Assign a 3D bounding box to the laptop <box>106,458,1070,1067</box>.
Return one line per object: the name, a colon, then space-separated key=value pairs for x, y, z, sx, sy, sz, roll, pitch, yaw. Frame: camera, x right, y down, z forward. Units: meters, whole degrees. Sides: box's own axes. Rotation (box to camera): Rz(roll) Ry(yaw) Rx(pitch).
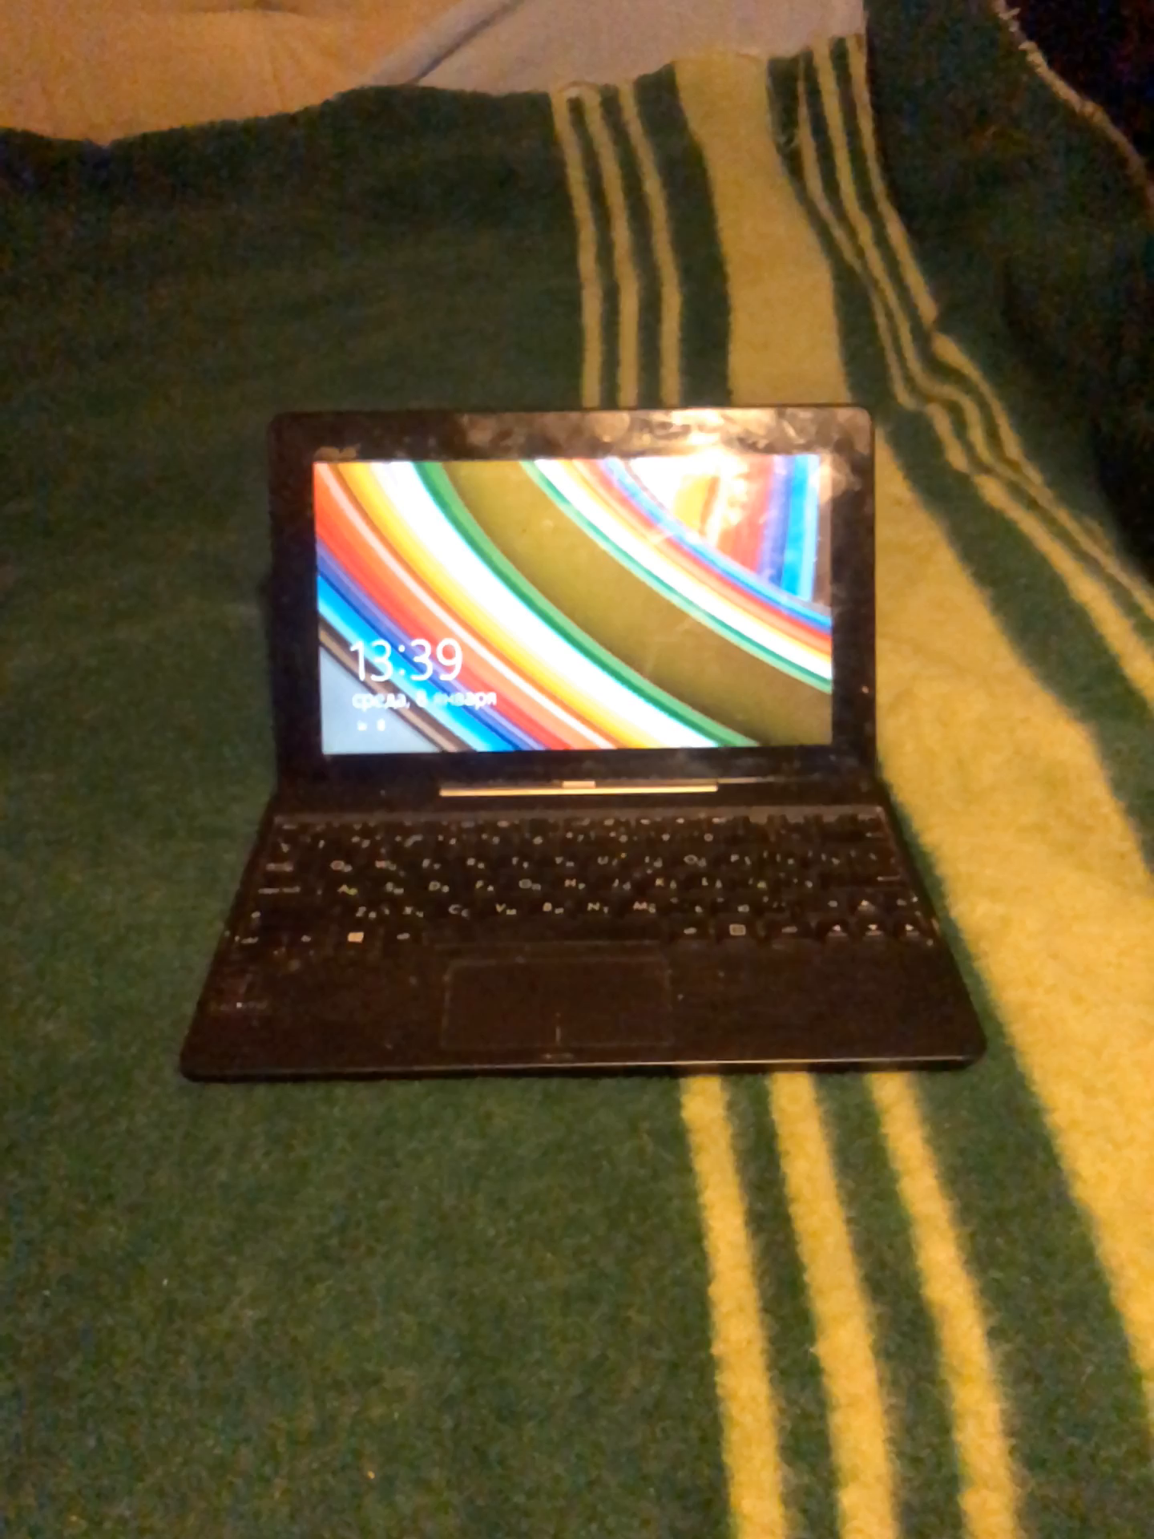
laptop: x=0.001 y=-0.020 z=0.486 sx=0.257 sy=0.116 sz=0.258 roll=-1 pitch=34 yaw=0
